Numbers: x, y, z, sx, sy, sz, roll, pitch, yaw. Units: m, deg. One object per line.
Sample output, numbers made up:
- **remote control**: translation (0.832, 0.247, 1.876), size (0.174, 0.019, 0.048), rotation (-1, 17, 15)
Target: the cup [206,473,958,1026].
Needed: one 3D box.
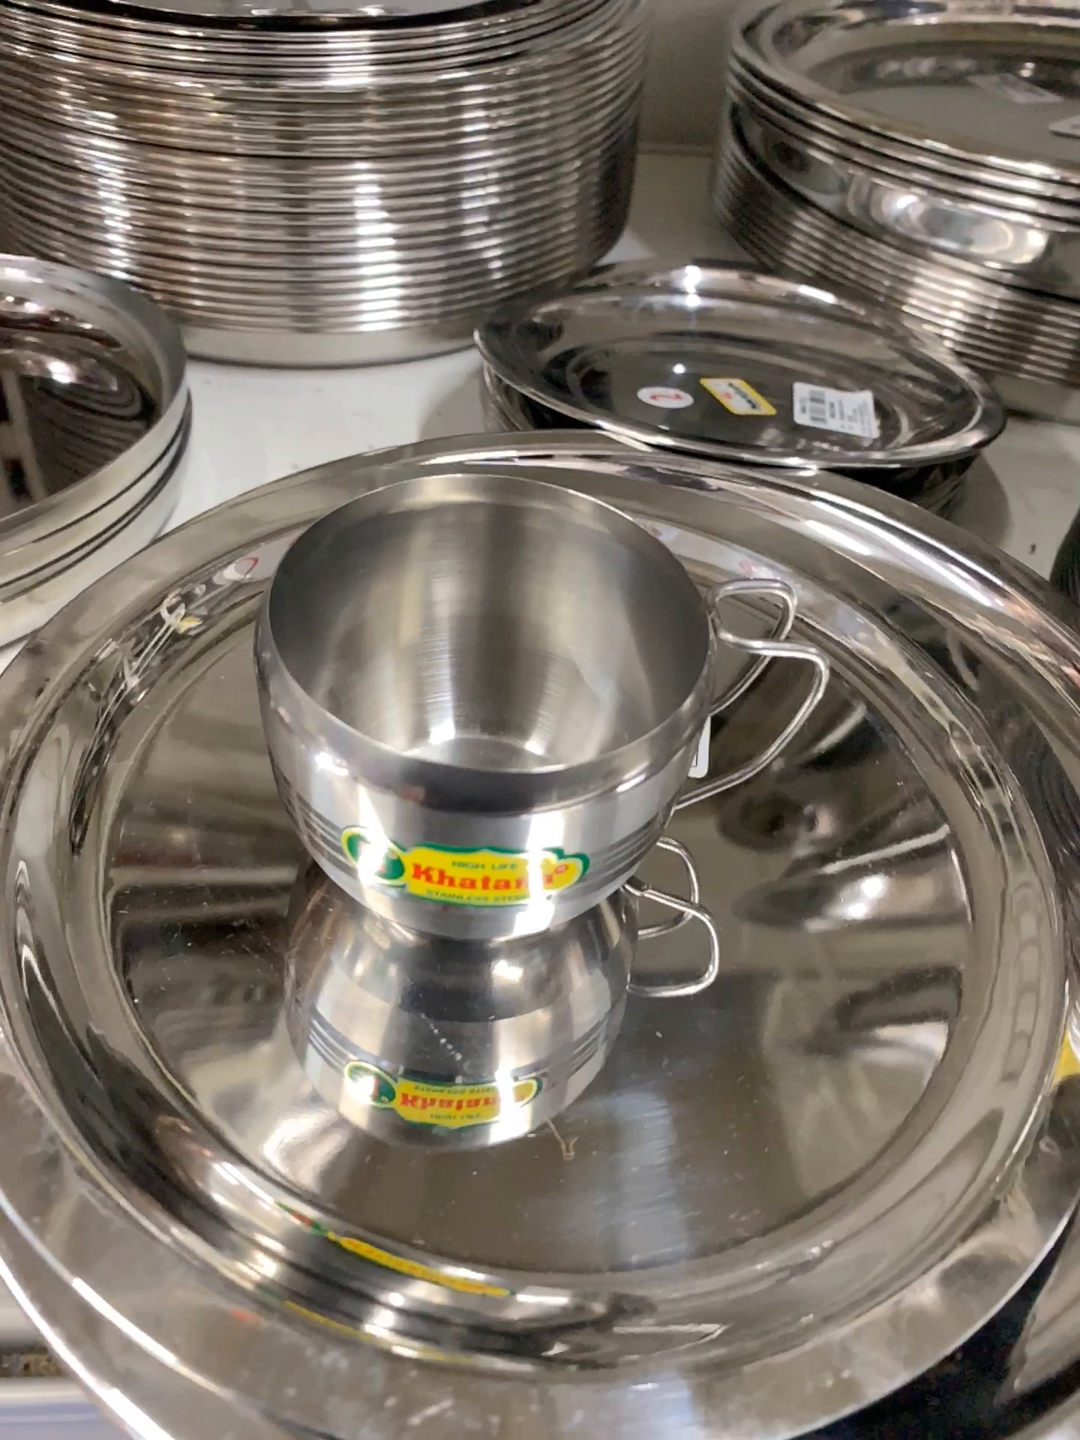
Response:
- **cup**: translation (0.001, 0.001, 0.171), size (0.090, 0.040, 0.070), rotation (-3, 46, -8)
